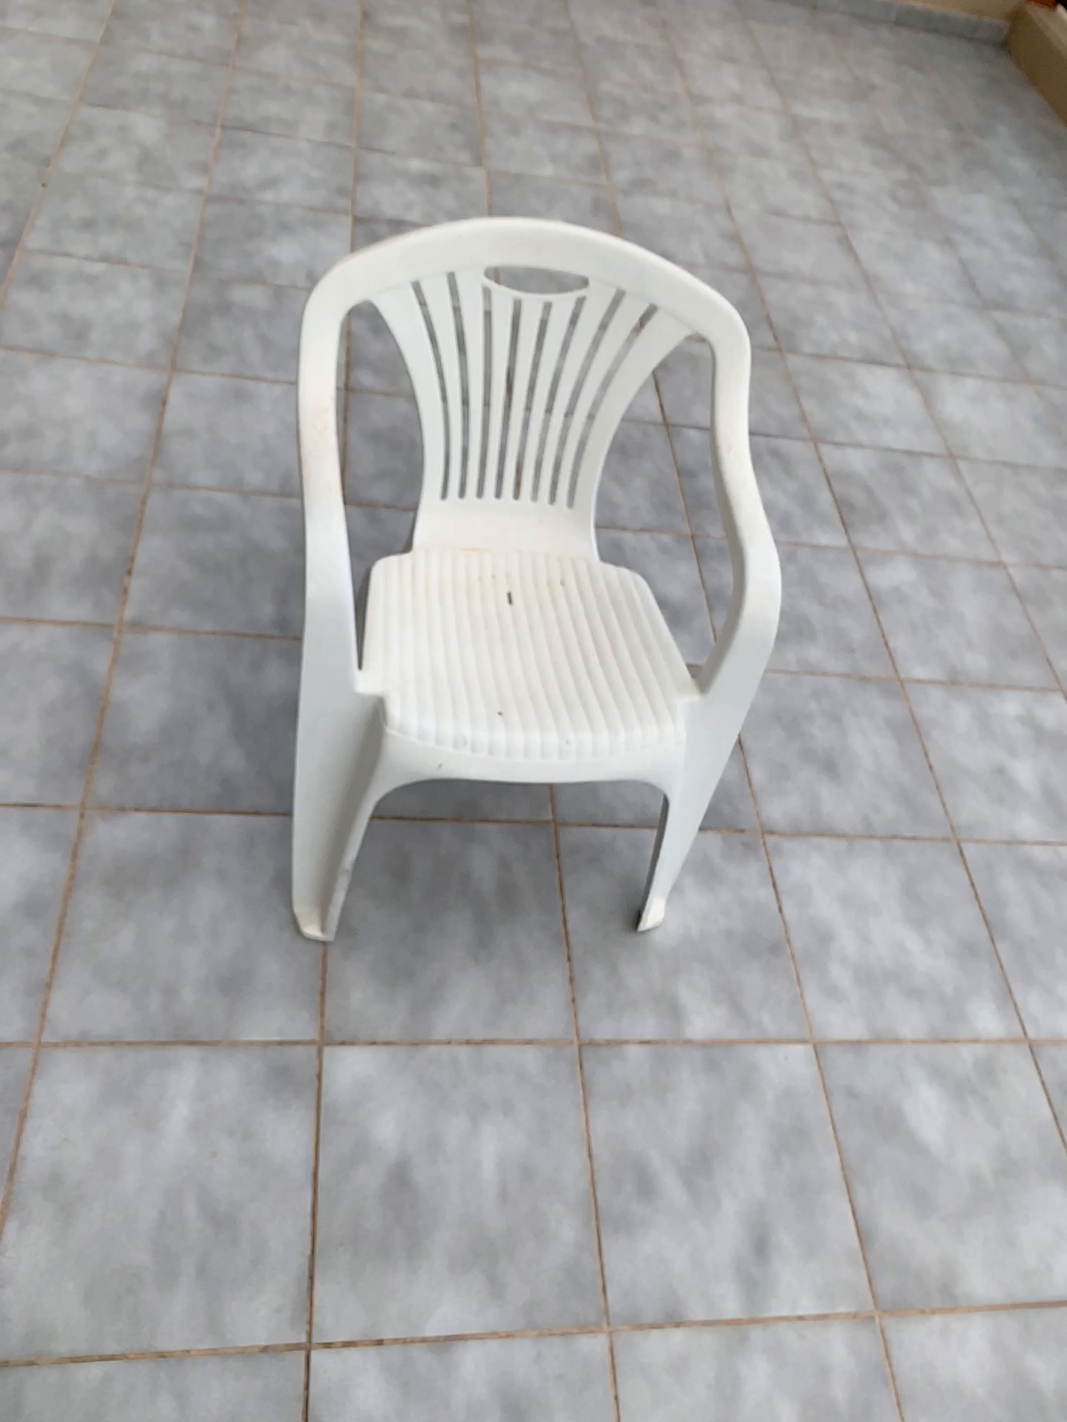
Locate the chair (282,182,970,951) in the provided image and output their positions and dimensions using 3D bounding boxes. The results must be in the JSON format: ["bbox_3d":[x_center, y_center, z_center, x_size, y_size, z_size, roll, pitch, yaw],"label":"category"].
[{"bbox_3d":[0.001,-0.131,1.320,0.571,0.667,0.562,1,52,-14],"label":"chair"}]
